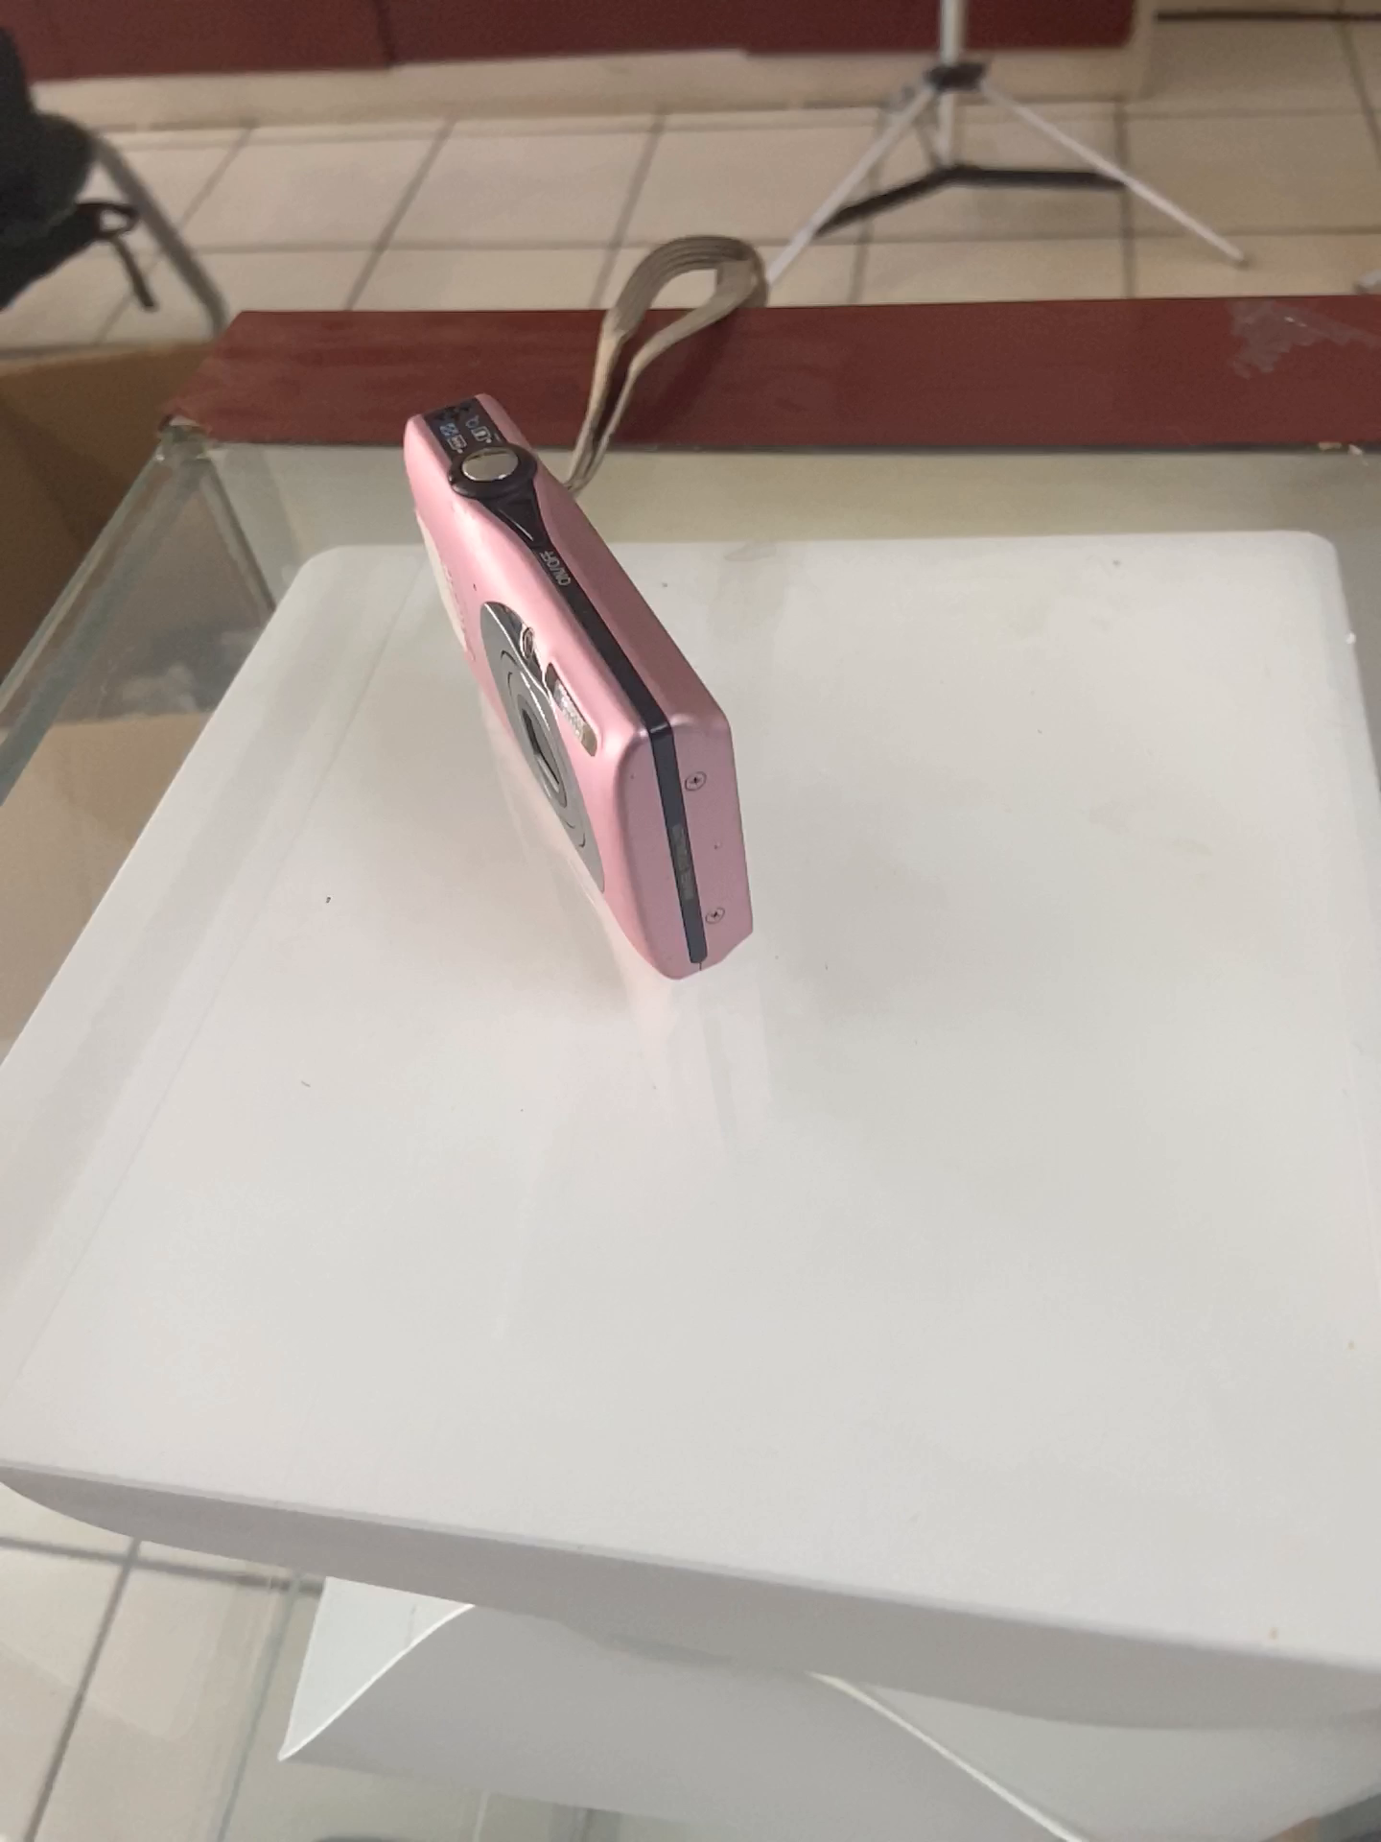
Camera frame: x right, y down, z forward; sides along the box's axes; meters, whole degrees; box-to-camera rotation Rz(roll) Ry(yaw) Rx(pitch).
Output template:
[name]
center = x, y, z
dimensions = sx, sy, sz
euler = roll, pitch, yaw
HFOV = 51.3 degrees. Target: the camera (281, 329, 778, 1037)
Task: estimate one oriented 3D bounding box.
[camera]
center = -0.025, -0.039, 0.219
dimensions = 0.030, 0.050, 0.100
euler = -25, 55, -12
